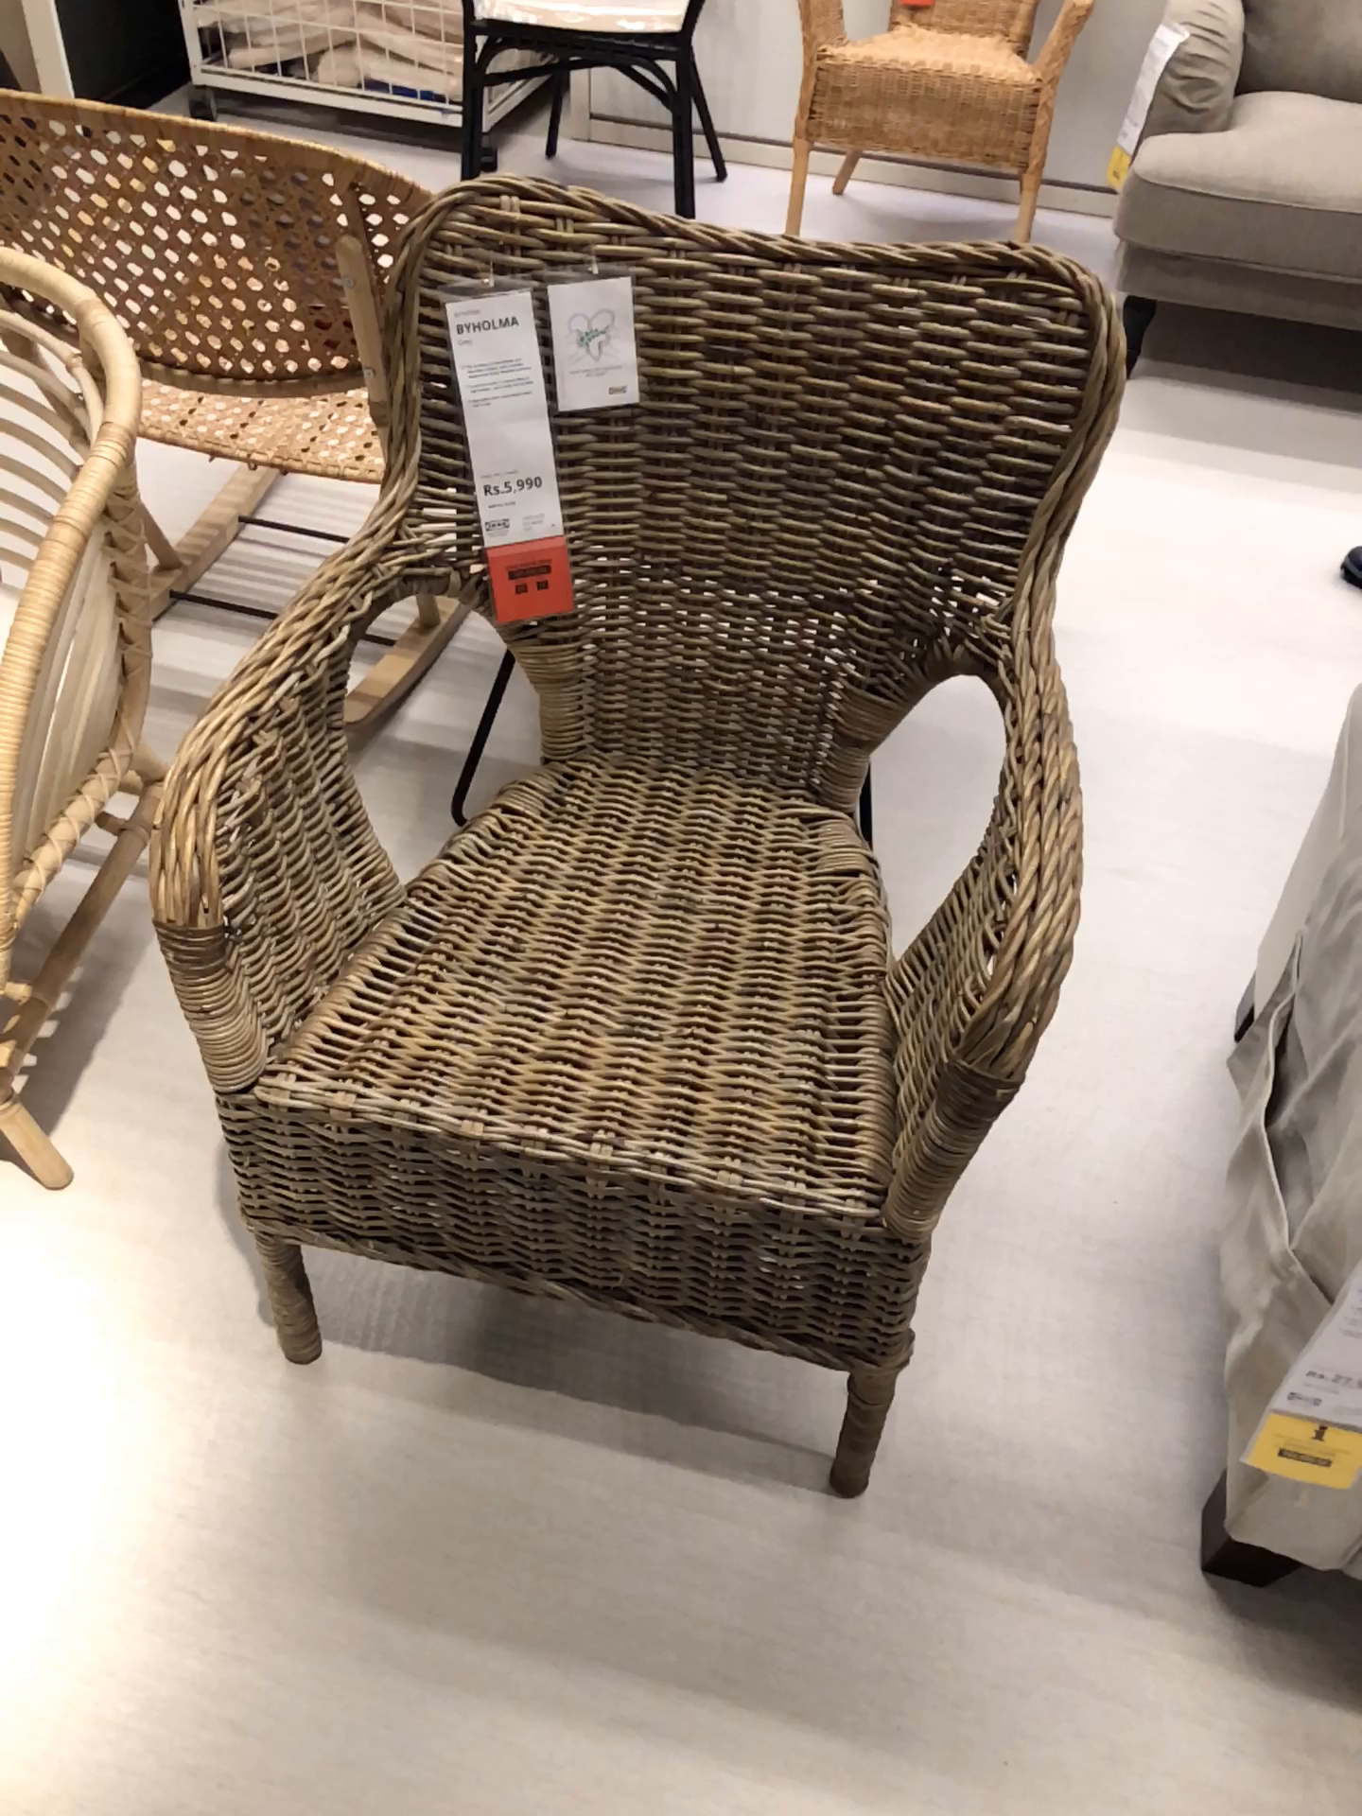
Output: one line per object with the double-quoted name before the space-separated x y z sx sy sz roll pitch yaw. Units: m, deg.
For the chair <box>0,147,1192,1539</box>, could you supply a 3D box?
"chair" -0.012 -0.038 1.344 0.670 0.924 0.684 11 46 8
